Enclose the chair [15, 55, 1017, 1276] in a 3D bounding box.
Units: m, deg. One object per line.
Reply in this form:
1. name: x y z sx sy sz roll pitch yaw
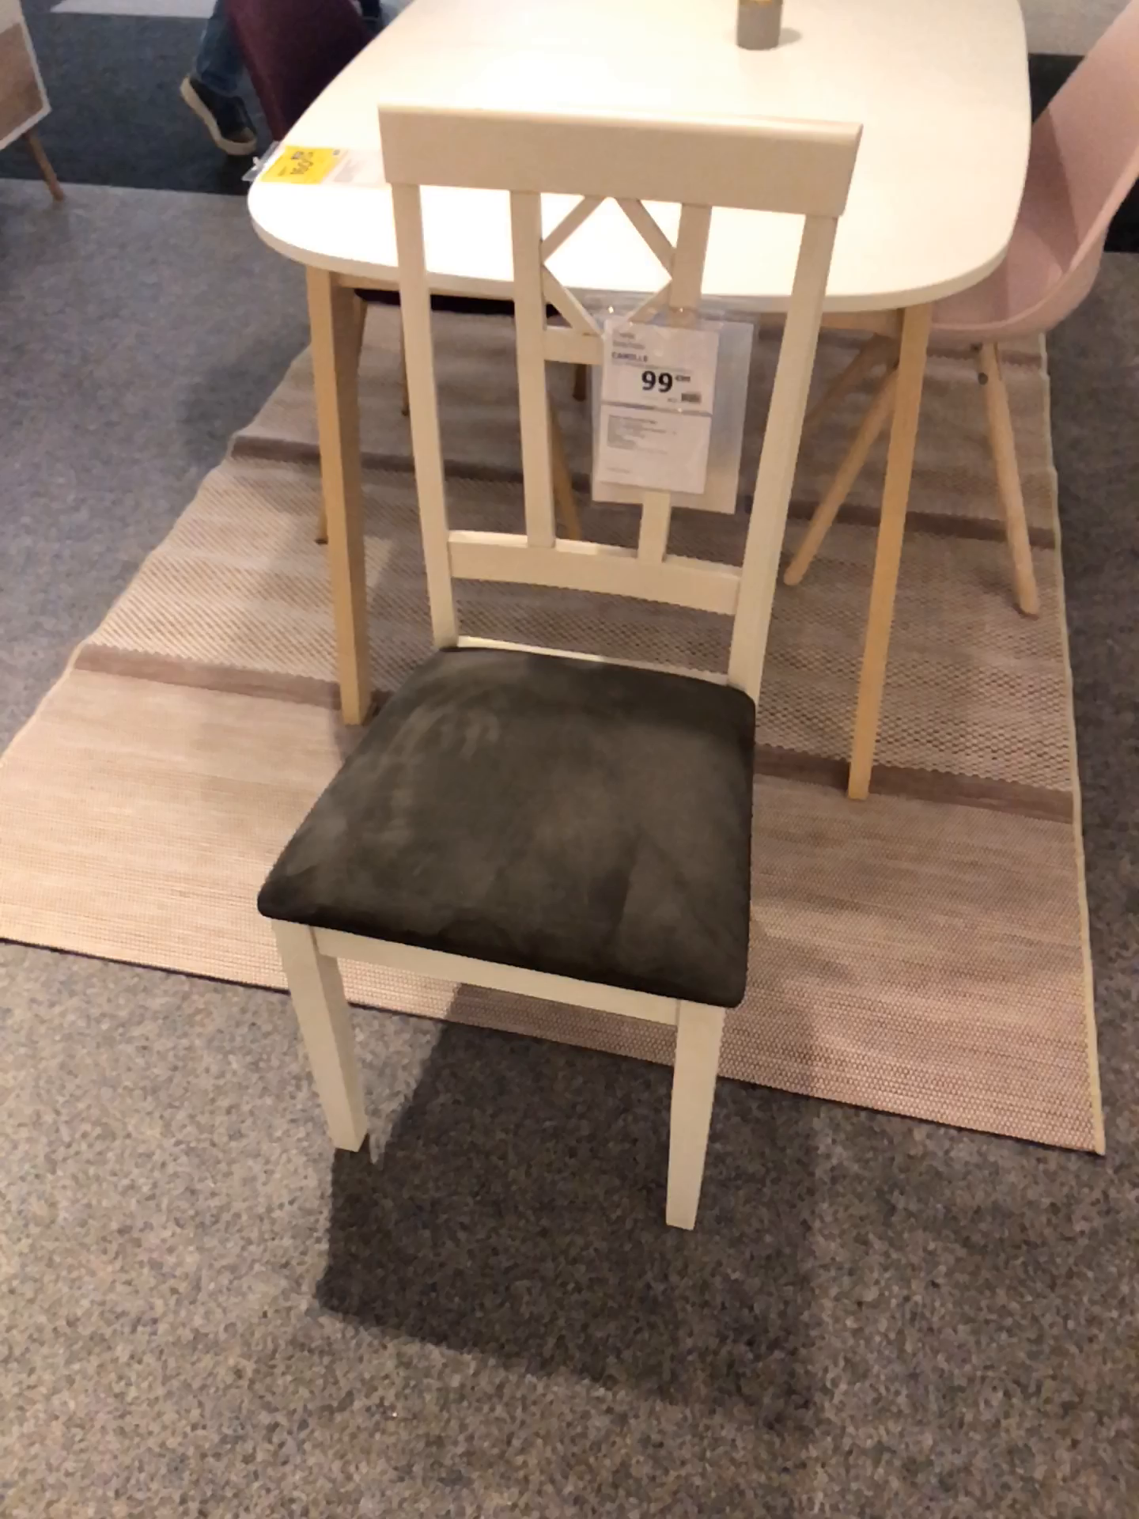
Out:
1. chair: 0.033 -0.051 1.113 0.510 0.855 0.563 9 47 11
